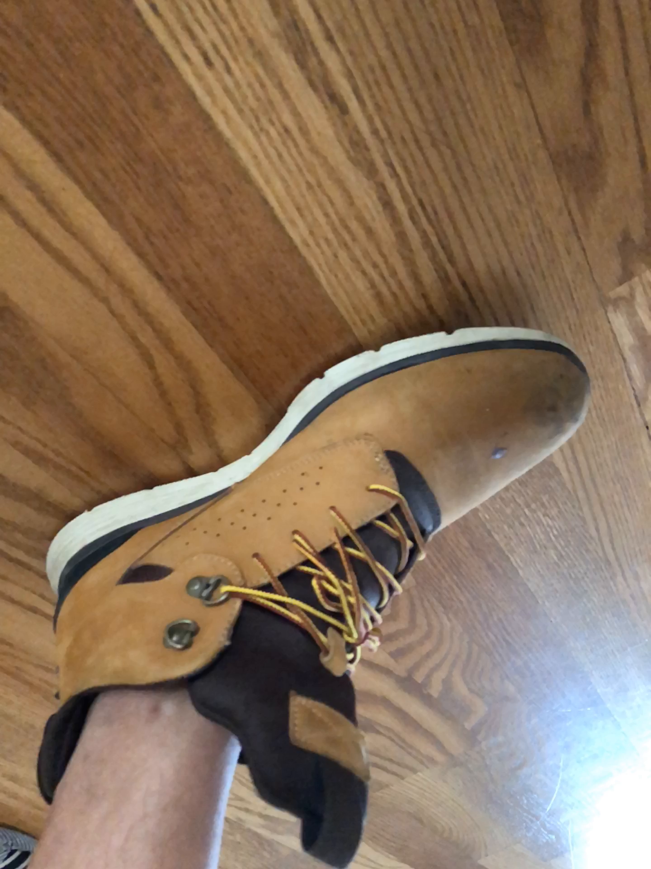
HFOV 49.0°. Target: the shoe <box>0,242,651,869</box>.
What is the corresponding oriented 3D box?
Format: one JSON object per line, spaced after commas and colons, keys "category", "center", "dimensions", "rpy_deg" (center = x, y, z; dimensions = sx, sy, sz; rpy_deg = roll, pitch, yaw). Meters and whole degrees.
{"category": "shoe", "center": [0.002, 0.073, 0.326], "dimensions": [0.310, 0.169, 0.121], "rpy_deg": [-31, 129, 3]}
